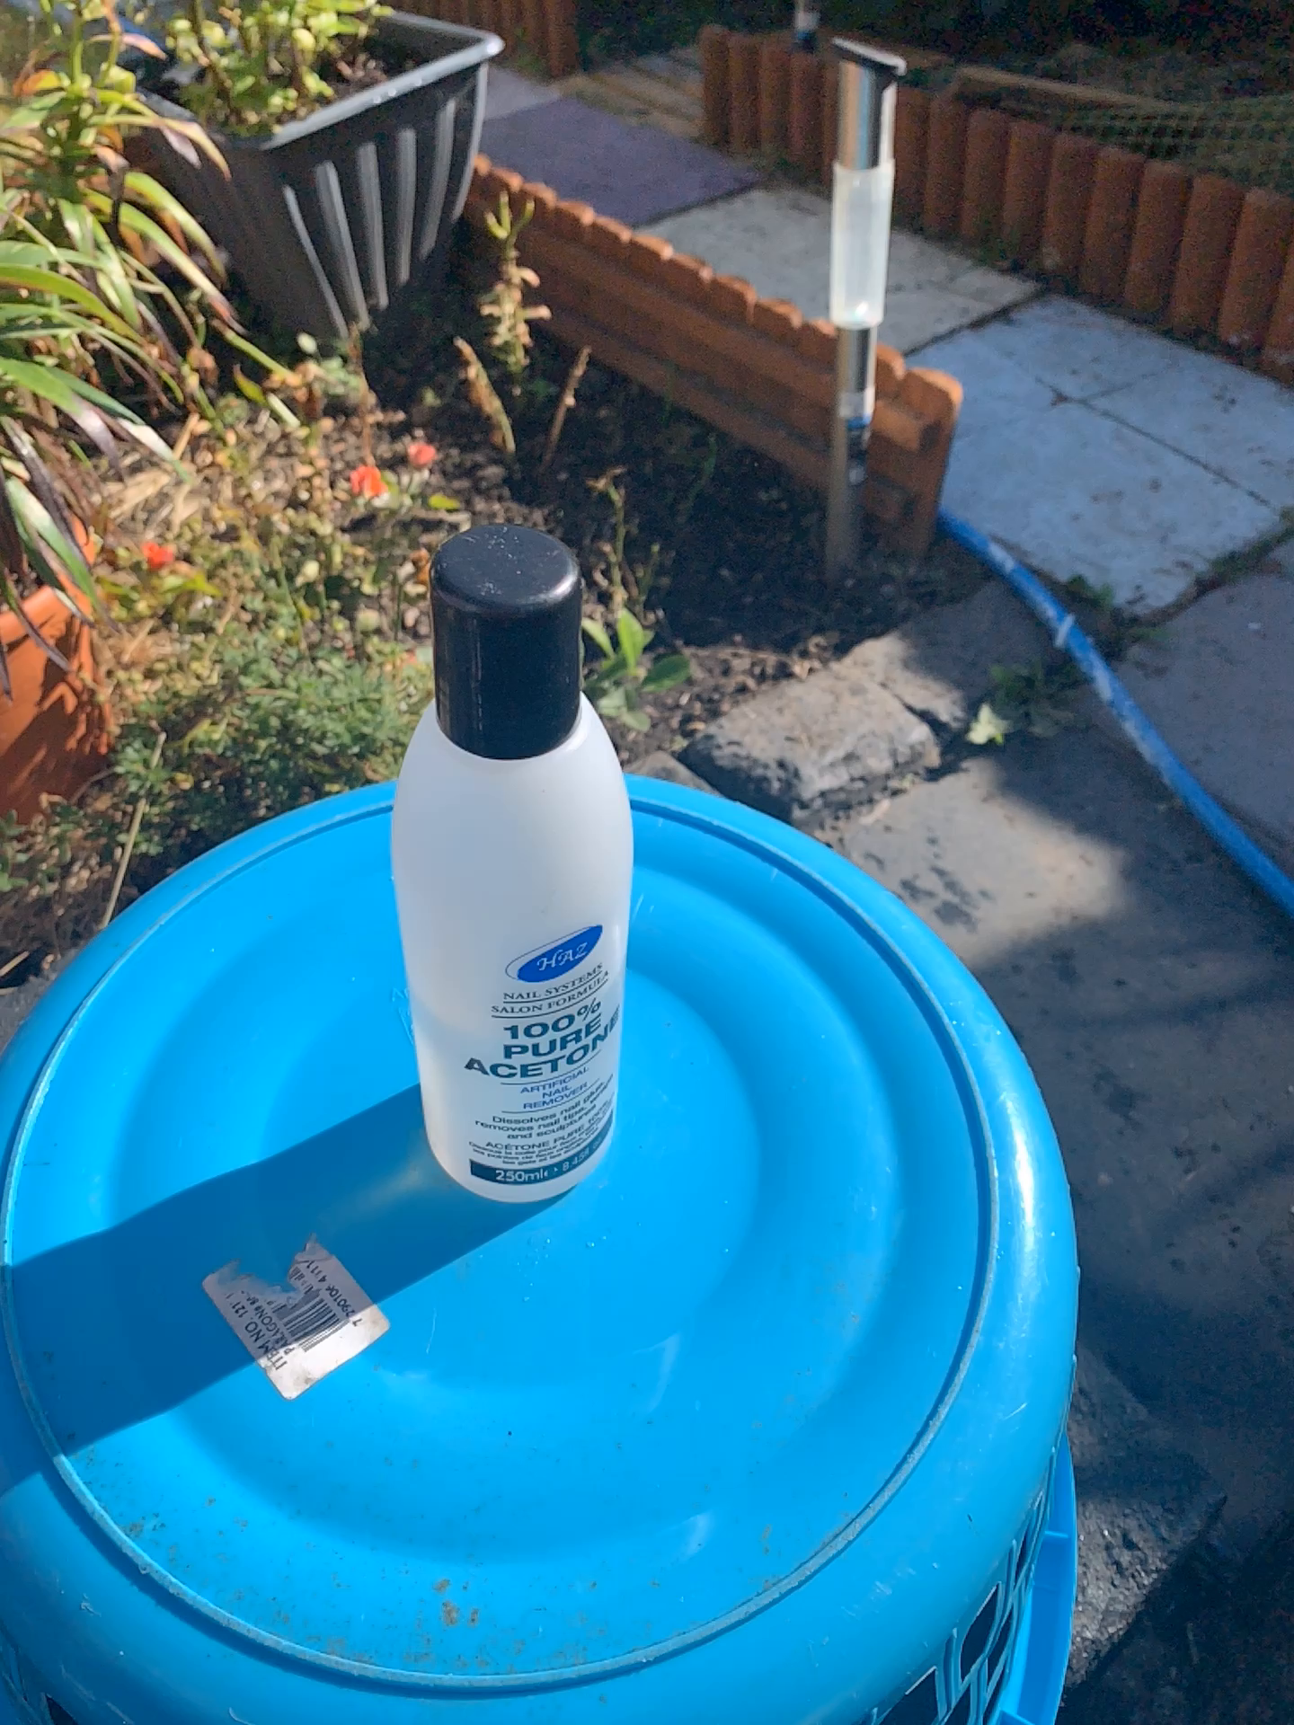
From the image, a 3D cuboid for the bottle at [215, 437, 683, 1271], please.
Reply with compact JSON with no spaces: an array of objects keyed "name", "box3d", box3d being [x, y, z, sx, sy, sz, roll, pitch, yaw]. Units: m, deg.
[{"name":"bottle","box3d":[-0.035,0.009,0.296,0.060,0.178,0.060,0,46,0]}]
